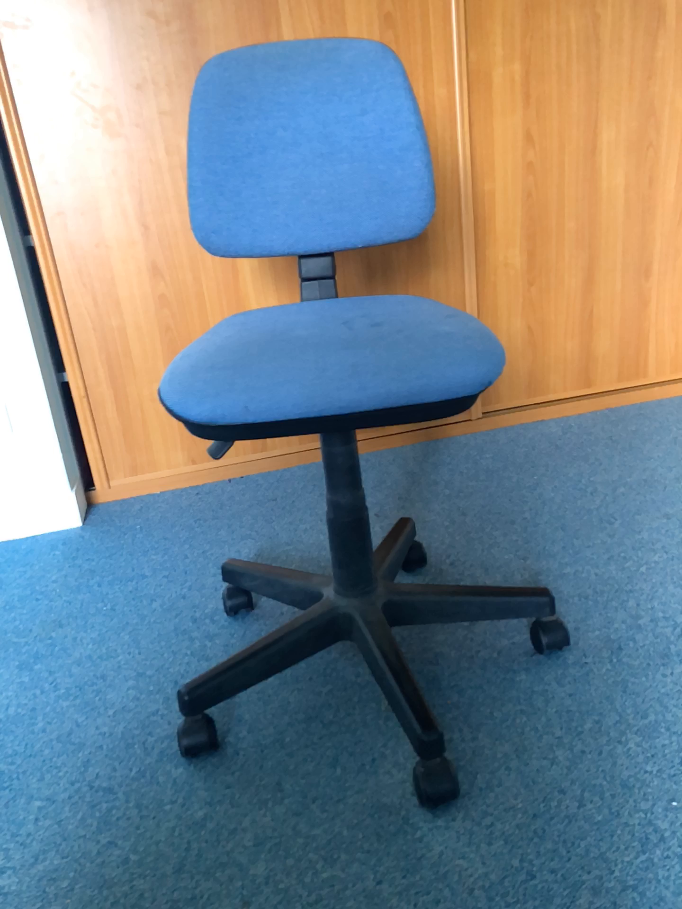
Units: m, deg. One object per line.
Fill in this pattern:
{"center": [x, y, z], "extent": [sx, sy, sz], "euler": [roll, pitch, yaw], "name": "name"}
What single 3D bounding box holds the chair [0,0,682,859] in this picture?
{"center": [-0.003, -0.129, 1.072], "extent": [0.650, 0.916, 0.764], "euler": [-7, 21, -2], "name": "chair"}
